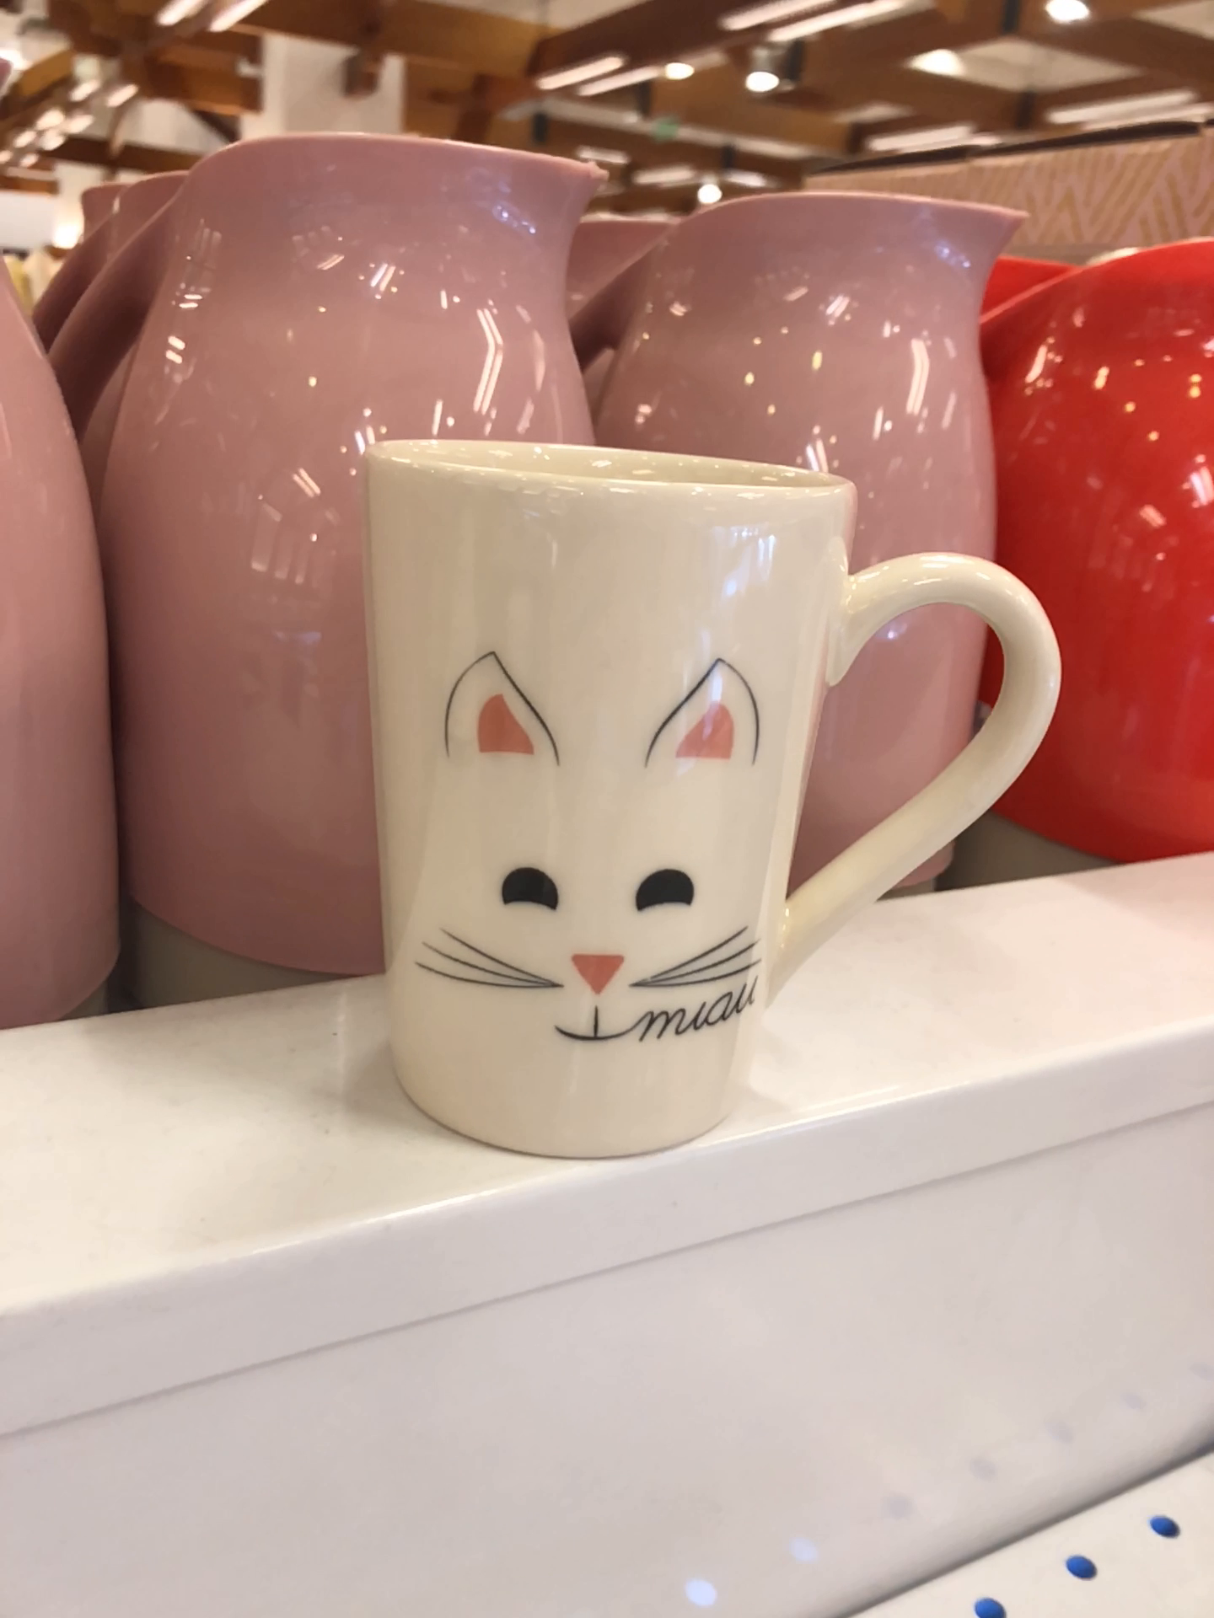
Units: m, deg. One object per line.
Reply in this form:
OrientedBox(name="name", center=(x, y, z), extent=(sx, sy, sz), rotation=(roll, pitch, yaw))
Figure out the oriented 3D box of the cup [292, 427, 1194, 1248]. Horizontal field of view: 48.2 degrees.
OrientedBox(name="cup", center=(0.009, -0.002, 0.212), extent=(0.110, 0.099, 0.080), rotation=(1, 18, -12))
